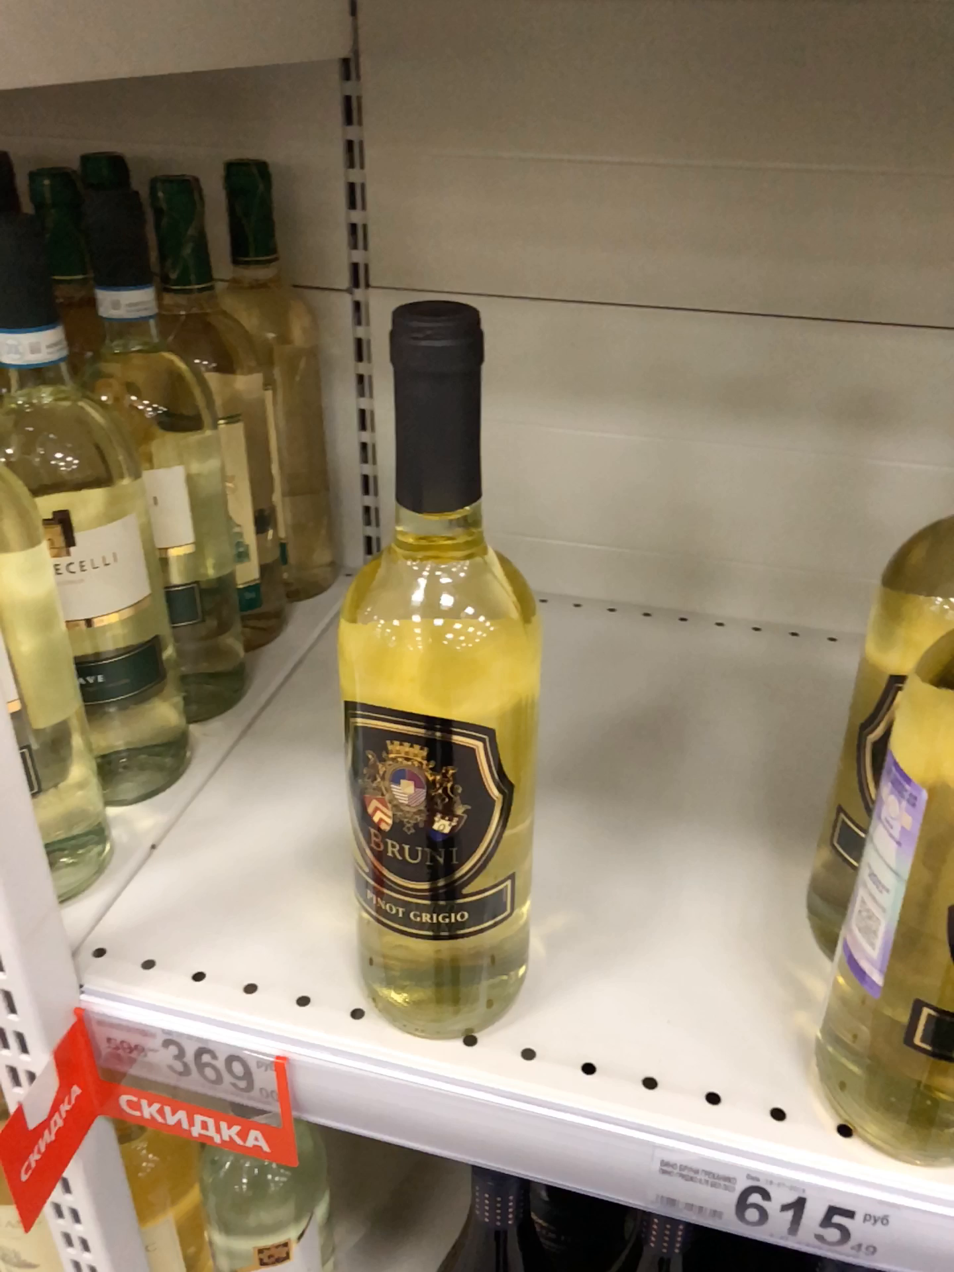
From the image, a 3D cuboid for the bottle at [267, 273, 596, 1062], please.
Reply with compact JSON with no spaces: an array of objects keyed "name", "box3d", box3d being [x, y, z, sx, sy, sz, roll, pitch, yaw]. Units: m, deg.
[{"name":"bottle","box3d":[-0.012,0.023,0.398,0.080,0.288,0.080,1,30,0]}]
